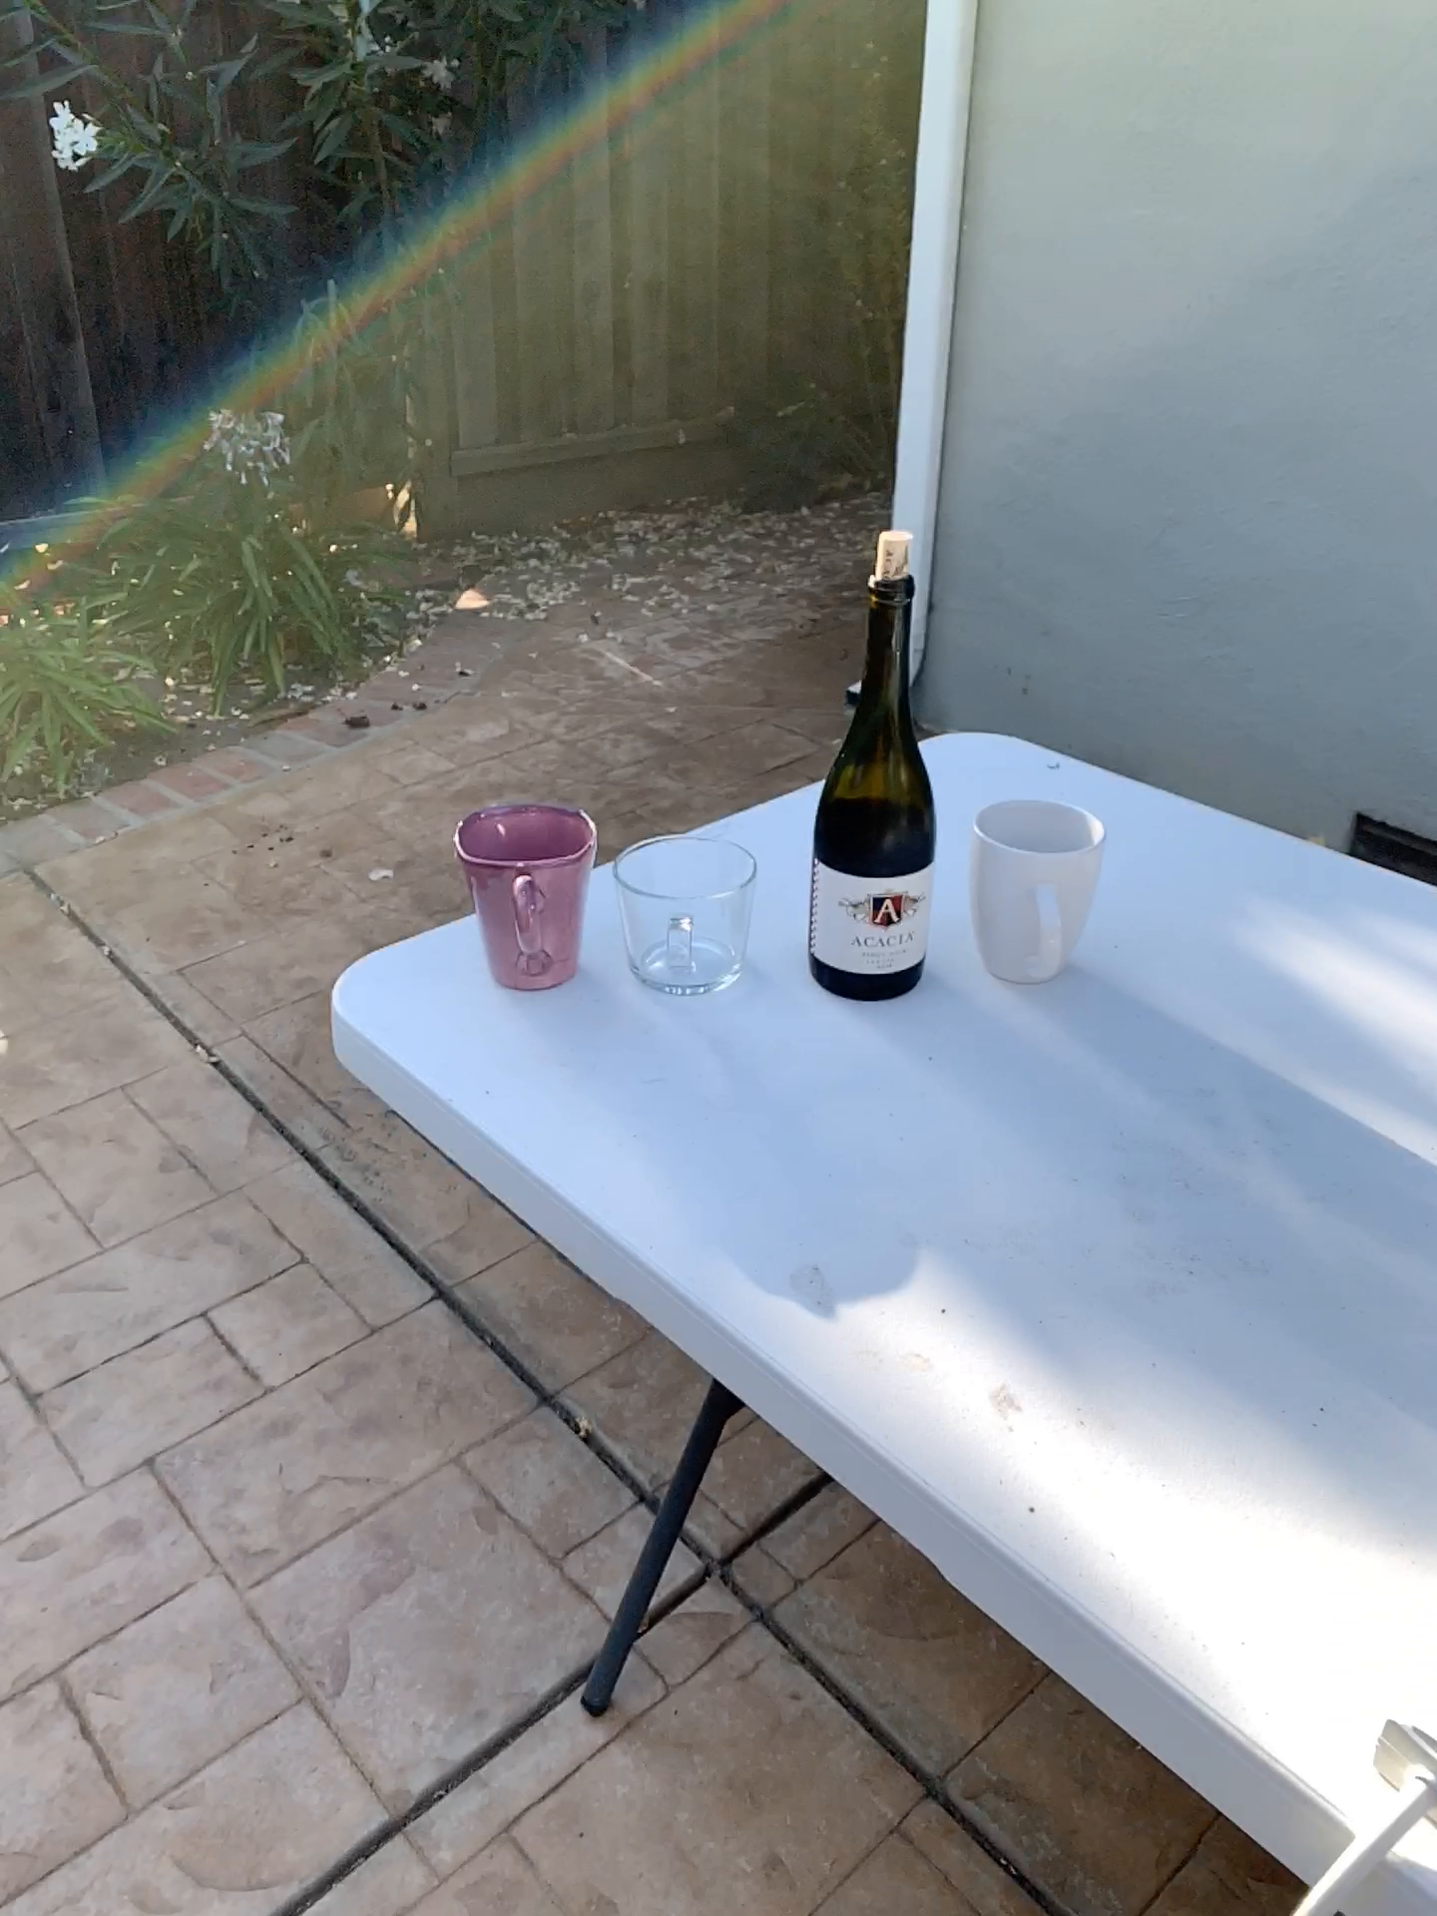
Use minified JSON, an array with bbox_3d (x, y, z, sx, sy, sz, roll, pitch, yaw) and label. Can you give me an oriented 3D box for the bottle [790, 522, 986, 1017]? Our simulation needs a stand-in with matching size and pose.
[{"bbox_3d":[0.106,-0.121,0.983,0.080,0.308,0.091,-8,30,-15],"label":"bottle"}]
